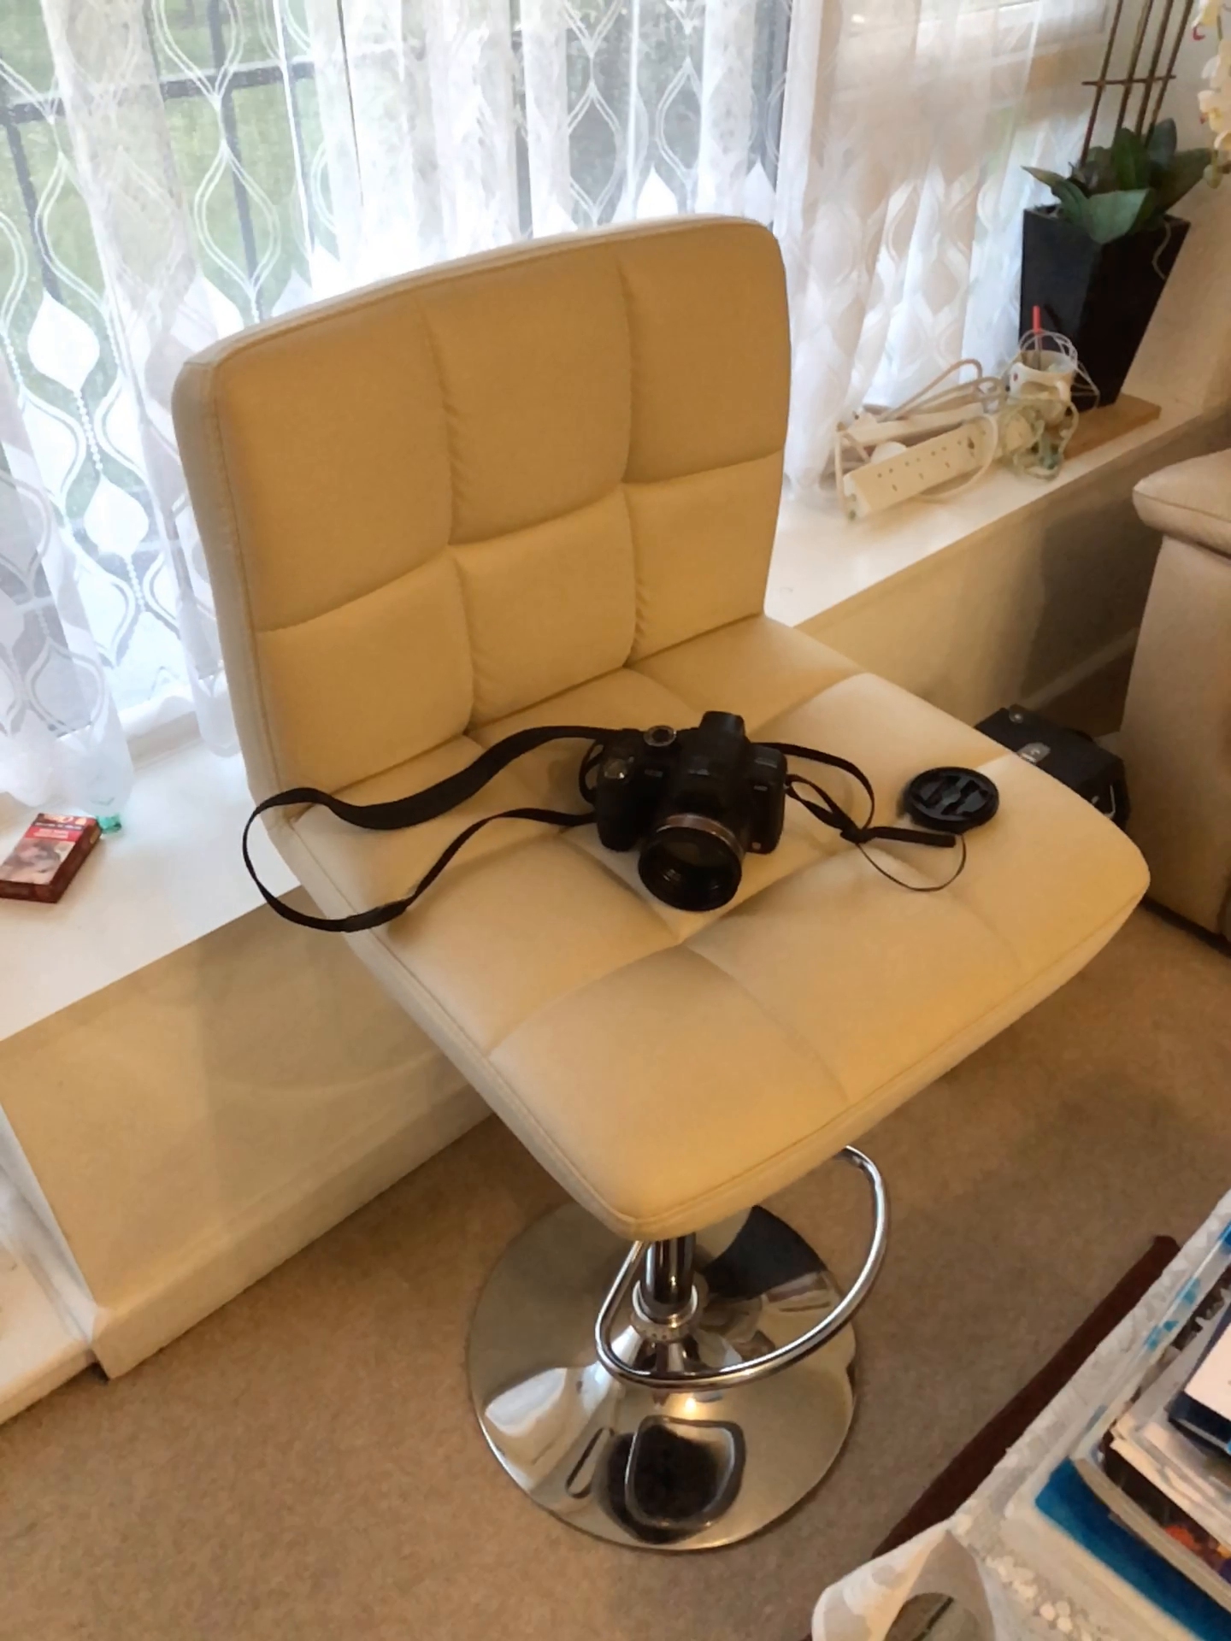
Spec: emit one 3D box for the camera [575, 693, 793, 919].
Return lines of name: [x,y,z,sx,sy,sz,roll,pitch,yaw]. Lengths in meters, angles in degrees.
camera: [0.041,-0.010,0.783,0.111,0.076,0.098,6,40,7]
